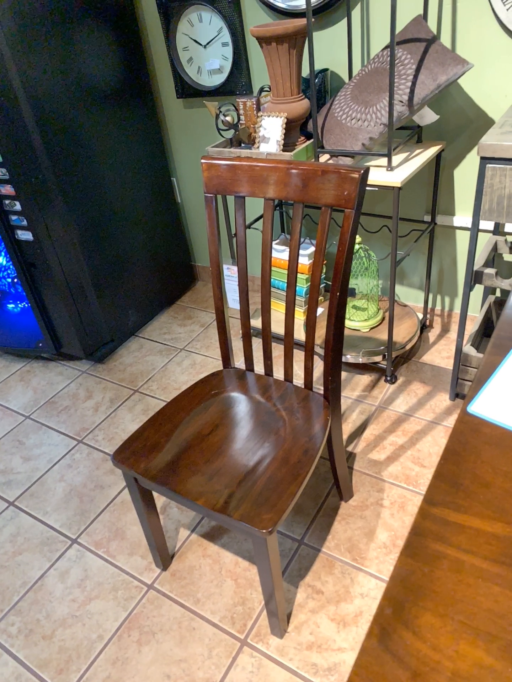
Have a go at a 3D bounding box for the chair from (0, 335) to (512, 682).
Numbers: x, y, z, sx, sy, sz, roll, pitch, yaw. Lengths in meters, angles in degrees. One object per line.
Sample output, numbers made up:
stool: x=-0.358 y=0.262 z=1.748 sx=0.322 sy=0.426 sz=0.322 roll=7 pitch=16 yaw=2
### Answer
chair: x=0.327 y=0.577 z=0.495 sx=0.462 sy=0.946 sz=0.576 roll=10 pitch=39 yaw=24

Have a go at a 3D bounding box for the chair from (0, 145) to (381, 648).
chair: x=-0.039 y=0.114 z=1.225 sx=0.462 sy=0.936 sz=0.586 roll=14 pitch=41 yaw=29
